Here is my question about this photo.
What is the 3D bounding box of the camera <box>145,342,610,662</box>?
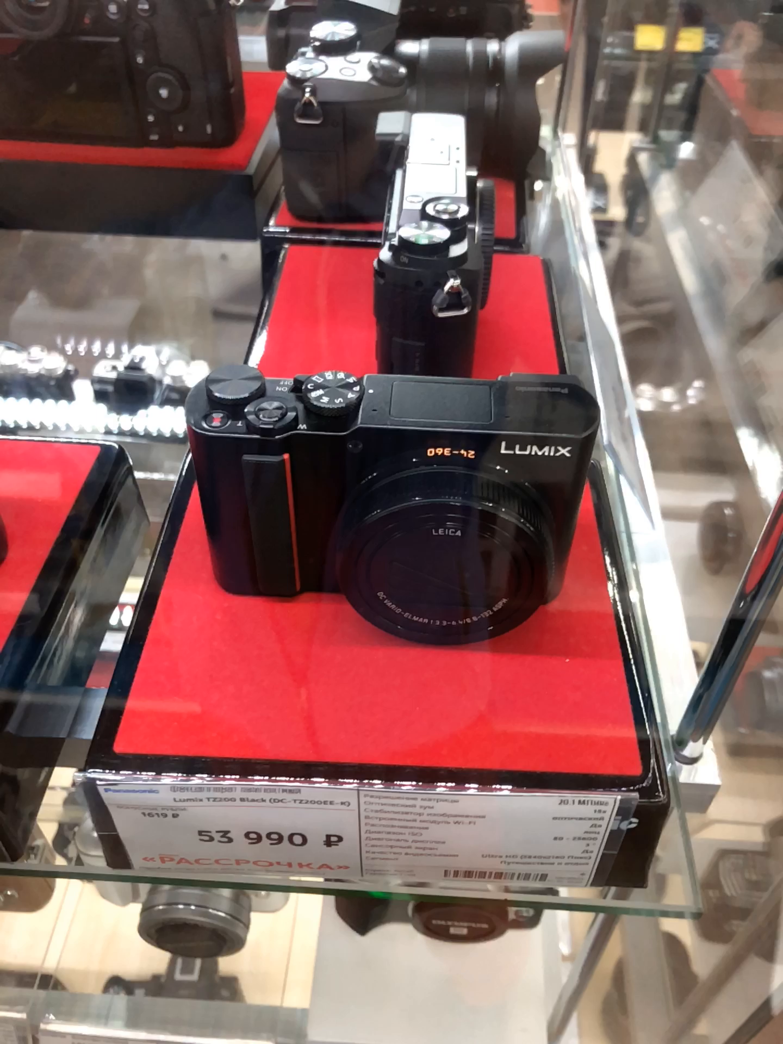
[{"bbox_3d":[-0.003,-0.005,0.248,0.110,0.070,0.052,2,44,1],"label":"camera"}]

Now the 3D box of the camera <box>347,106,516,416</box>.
[{"bbox_3d":[0.015,-0.104,0.341,0.054,0.076,0.102,2,44,1],"label":"camera"}]
